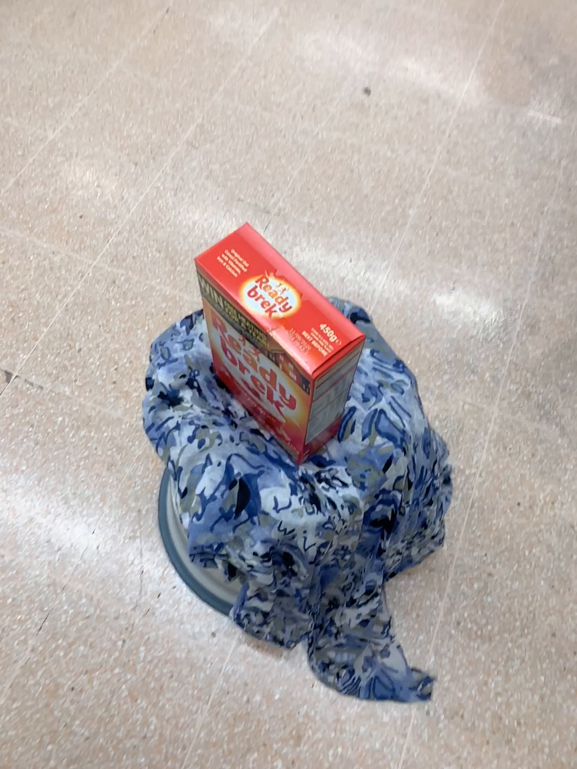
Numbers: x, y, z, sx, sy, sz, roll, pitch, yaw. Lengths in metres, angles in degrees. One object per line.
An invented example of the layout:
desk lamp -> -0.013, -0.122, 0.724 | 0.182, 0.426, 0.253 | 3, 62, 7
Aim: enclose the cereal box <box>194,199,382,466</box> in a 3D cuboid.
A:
cereal box -> -0.007, -0.037, 0.594 | 0.060, 0.239, 0.170 | -37, 70, -18
